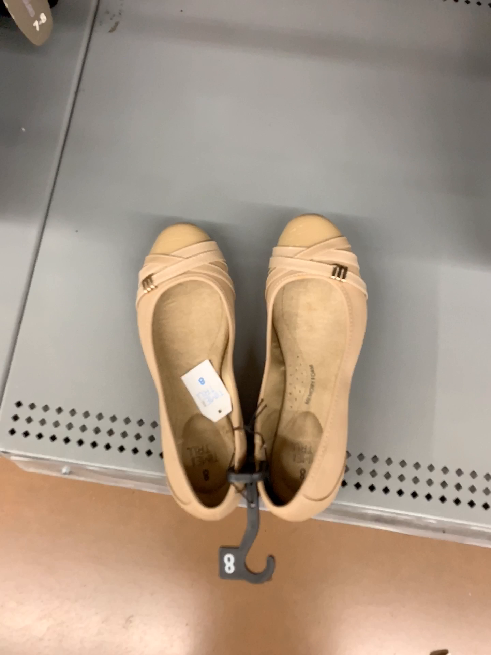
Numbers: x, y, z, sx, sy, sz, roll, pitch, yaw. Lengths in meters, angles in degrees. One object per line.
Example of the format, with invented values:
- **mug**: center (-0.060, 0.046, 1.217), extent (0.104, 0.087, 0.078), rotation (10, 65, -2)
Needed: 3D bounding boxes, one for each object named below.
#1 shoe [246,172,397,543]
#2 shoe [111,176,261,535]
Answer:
- **shoe**: center (0.062, 0.023, 0.431), extent (0.100, 0.100, 0.280), rotation (5, 79, 1)
- **shoe**: center (-0.051, 0.022, 0.445), extent (0.100, 0.100, 0.280), rotation (-5, 79, -1)
